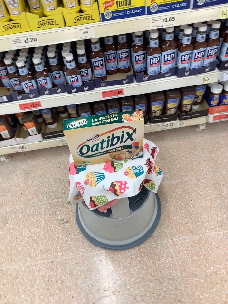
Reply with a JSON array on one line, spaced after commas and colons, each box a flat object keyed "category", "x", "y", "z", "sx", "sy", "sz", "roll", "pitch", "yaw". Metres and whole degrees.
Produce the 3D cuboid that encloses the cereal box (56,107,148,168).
[{"category": "cereal box", "x": -0.033, "y": -0.043, "z": 0.784, "sx": 0.280, "sy": 0.169, "sz": 0.061, "roll": -10, "pitch": 49, "yaw": -1}]
